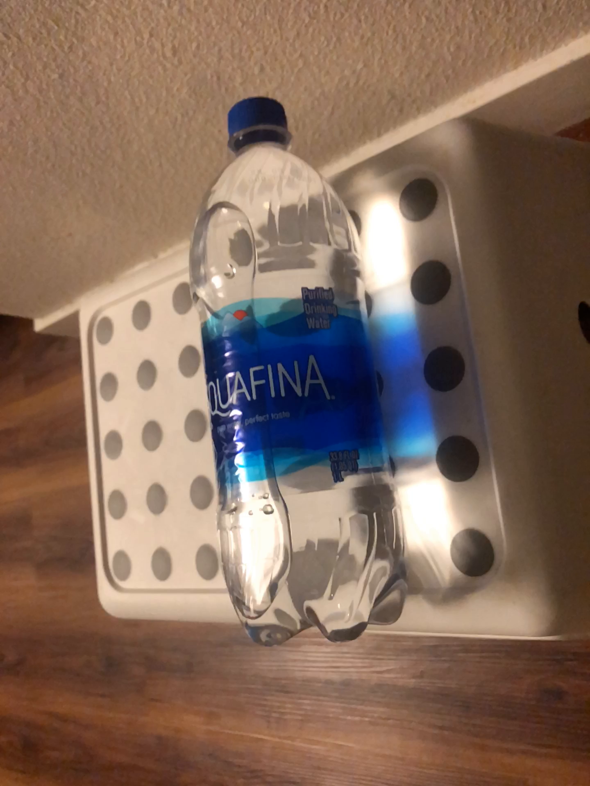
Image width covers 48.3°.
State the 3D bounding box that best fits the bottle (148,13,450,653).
[{"bbox_3d":[-0.002,-0.022,0.307,0.090,0.080,0.250,-13,78,39],"label":"bottle"}]
